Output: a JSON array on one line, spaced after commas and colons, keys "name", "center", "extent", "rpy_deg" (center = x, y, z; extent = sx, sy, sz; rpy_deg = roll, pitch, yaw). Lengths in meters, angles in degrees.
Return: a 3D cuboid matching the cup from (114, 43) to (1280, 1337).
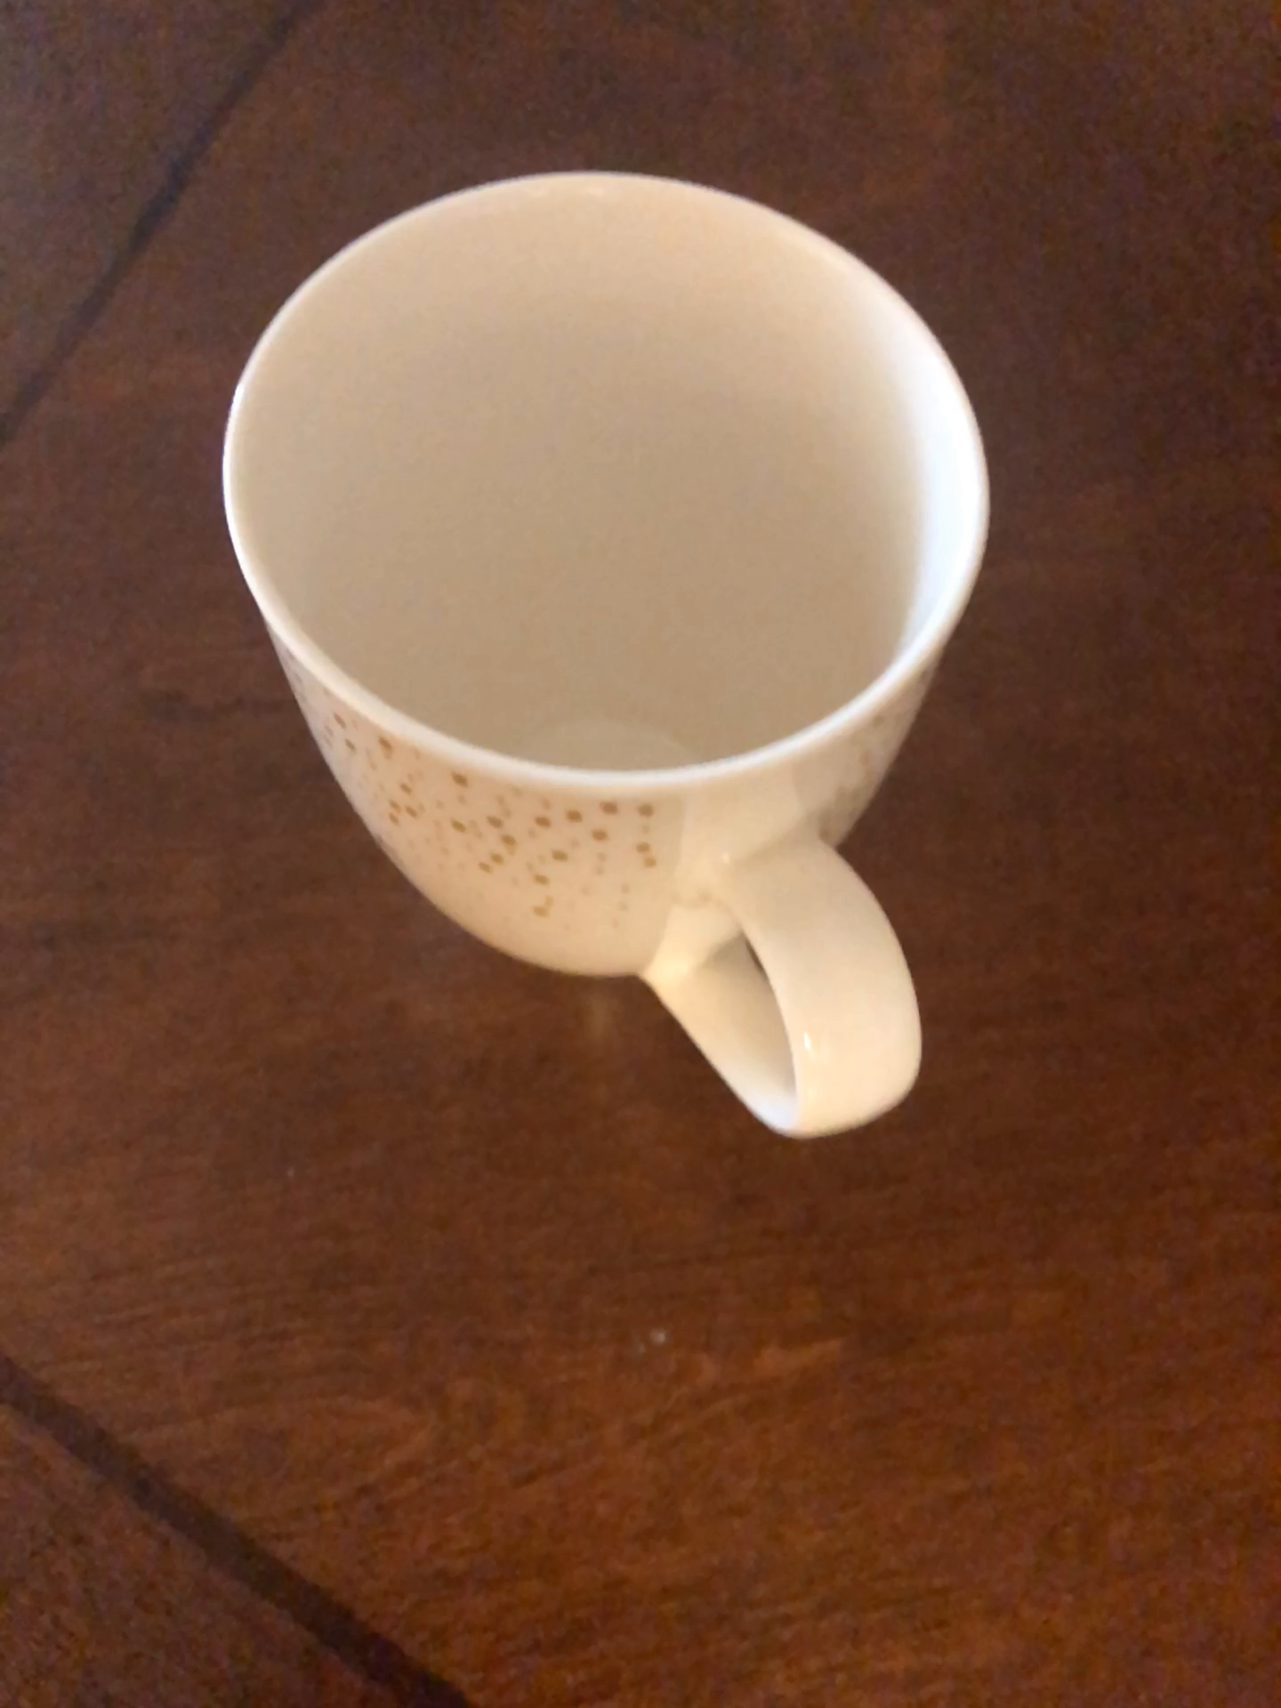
[{"name": "cup", "center": [0.002, -0.019, 0.216], "extent": [0.100, 0.100, 0.140], "rpy_deg": [-20, 68, -9]}]
